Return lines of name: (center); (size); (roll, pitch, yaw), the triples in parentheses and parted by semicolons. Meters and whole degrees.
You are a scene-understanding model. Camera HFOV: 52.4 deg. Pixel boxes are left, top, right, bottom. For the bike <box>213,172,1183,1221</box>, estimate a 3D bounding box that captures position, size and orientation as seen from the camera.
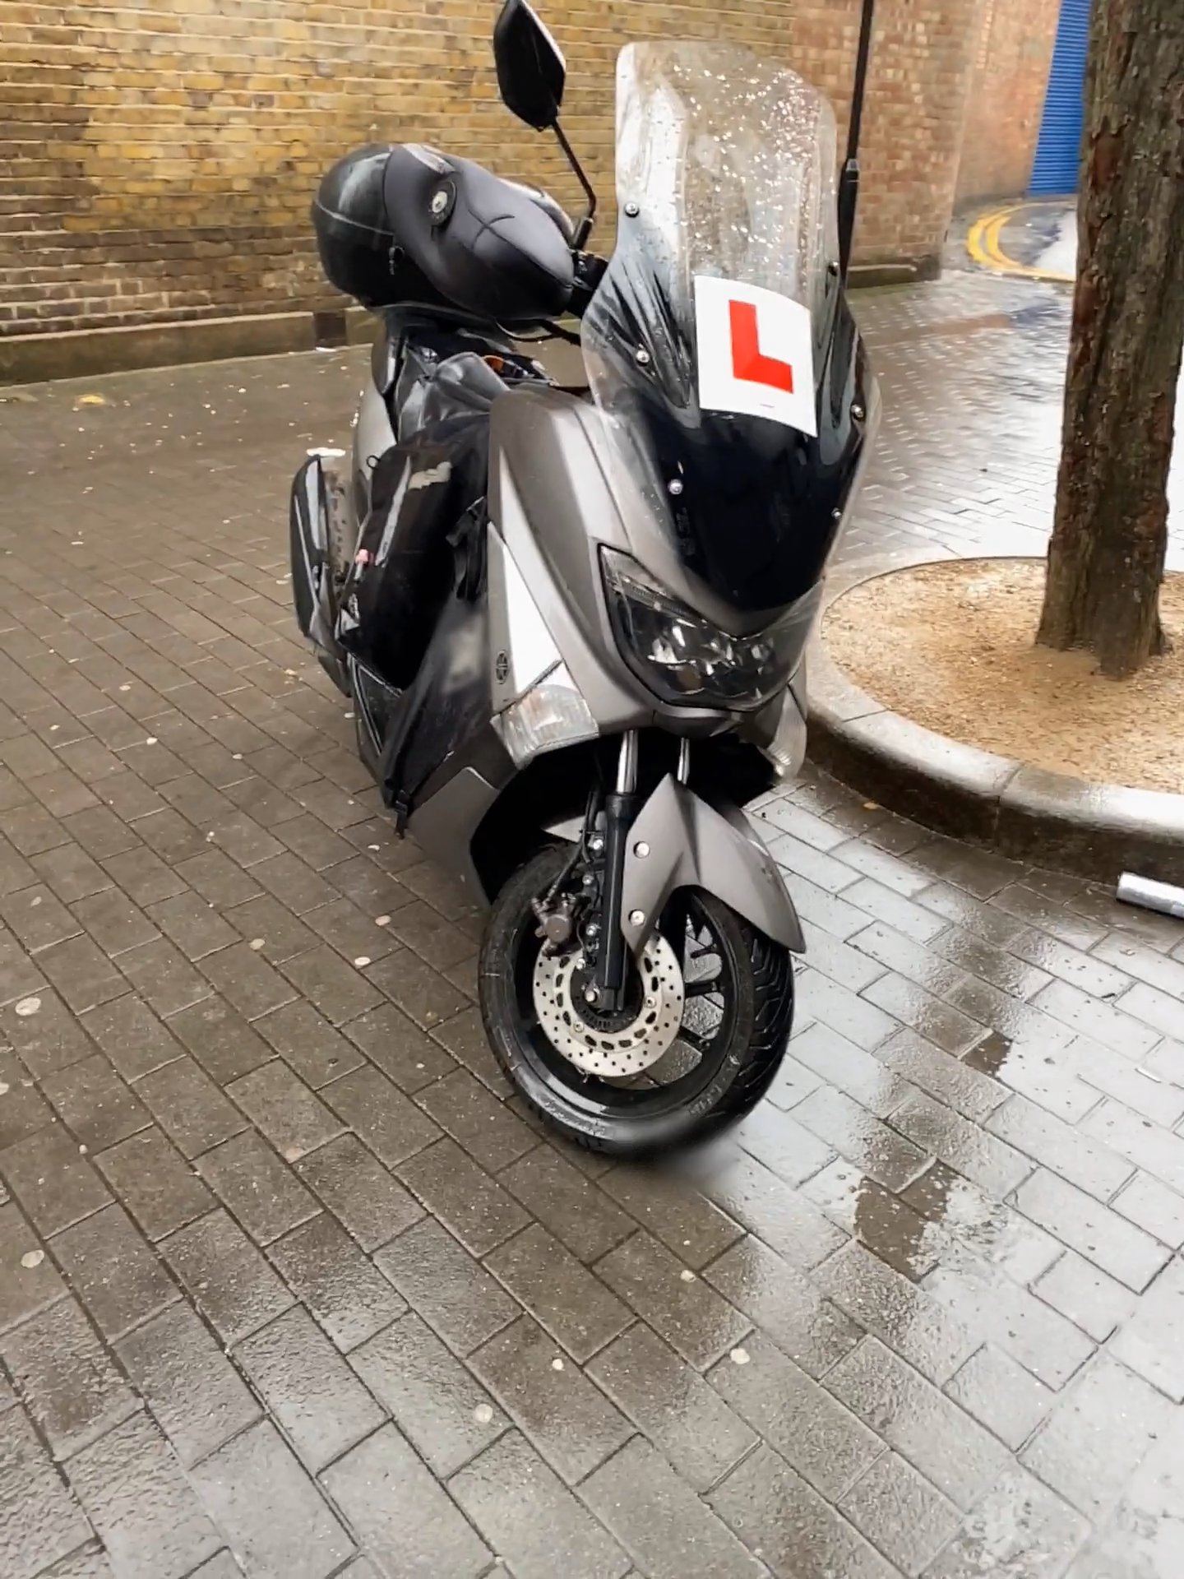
bike: (-0.023, -0.401, 2.142); (0.760, 1.121, 1.739); (-13, 33, -24)
